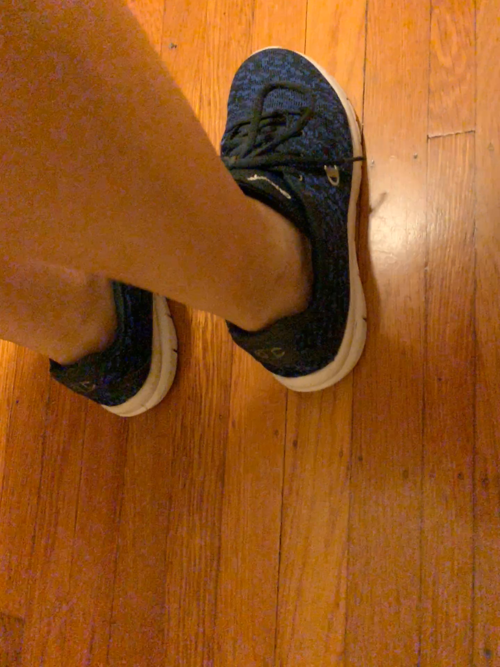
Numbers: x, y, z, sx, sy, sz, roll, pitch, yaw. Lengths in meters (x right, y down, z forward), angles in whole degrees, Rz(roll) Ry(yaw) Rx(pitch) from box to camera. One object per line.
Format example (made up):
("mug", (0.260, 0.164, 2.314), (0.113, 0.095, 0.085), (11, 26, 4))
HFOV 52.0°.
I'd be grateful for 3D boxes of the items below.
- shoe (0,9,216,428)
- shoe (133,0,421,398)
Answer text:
("shoe", (-0.128, -0.074, 0.433), (0.116, 0.149, 0.290), (-11, 77, 24))
("shoe", (0.019, -0.106, 0.354), (0.118, 0.129, 0.280), (-14, 76, 24))
